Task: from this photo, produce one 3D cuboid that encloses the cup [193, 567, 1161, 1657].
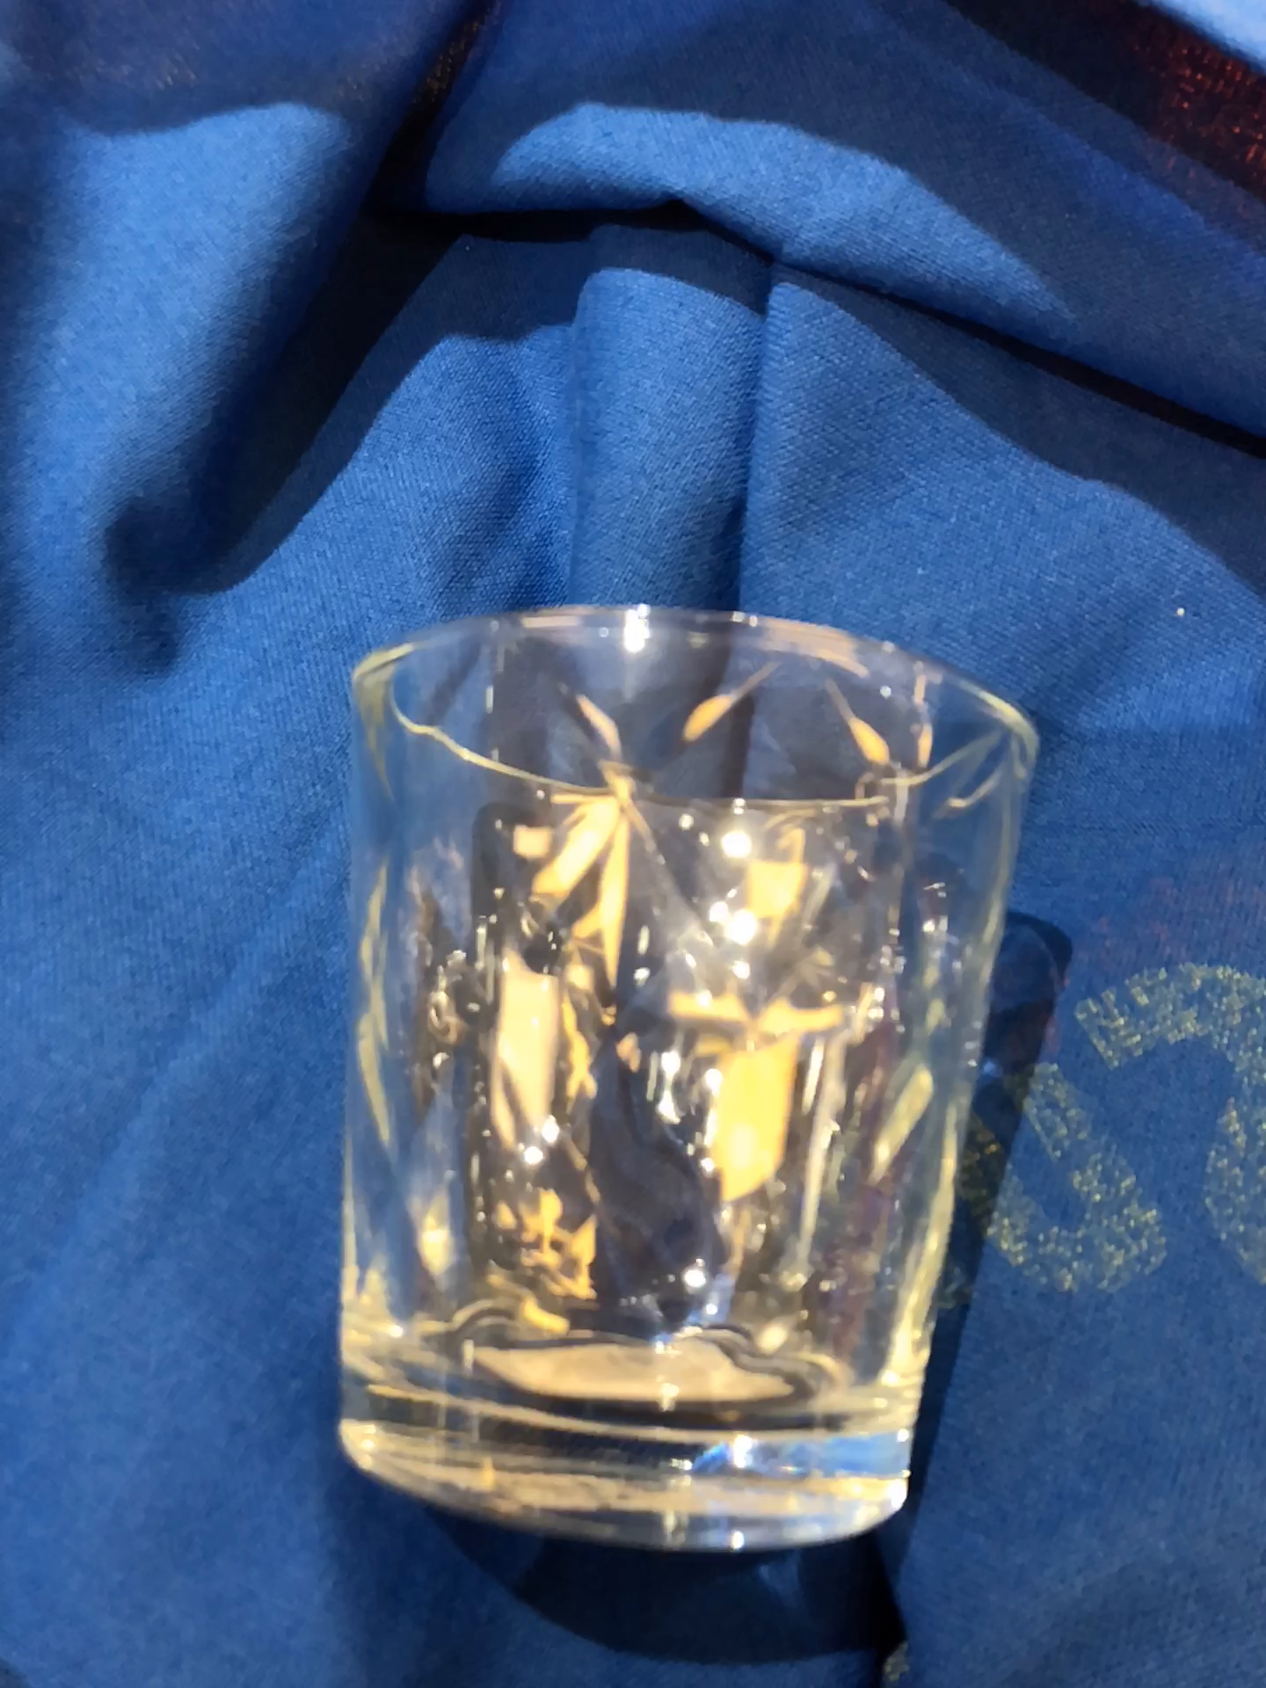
[{"bbox_3d":[0.006,0.026,0.162,0.080,0.070,0.090,5,83,1],"label":"cup"}]
